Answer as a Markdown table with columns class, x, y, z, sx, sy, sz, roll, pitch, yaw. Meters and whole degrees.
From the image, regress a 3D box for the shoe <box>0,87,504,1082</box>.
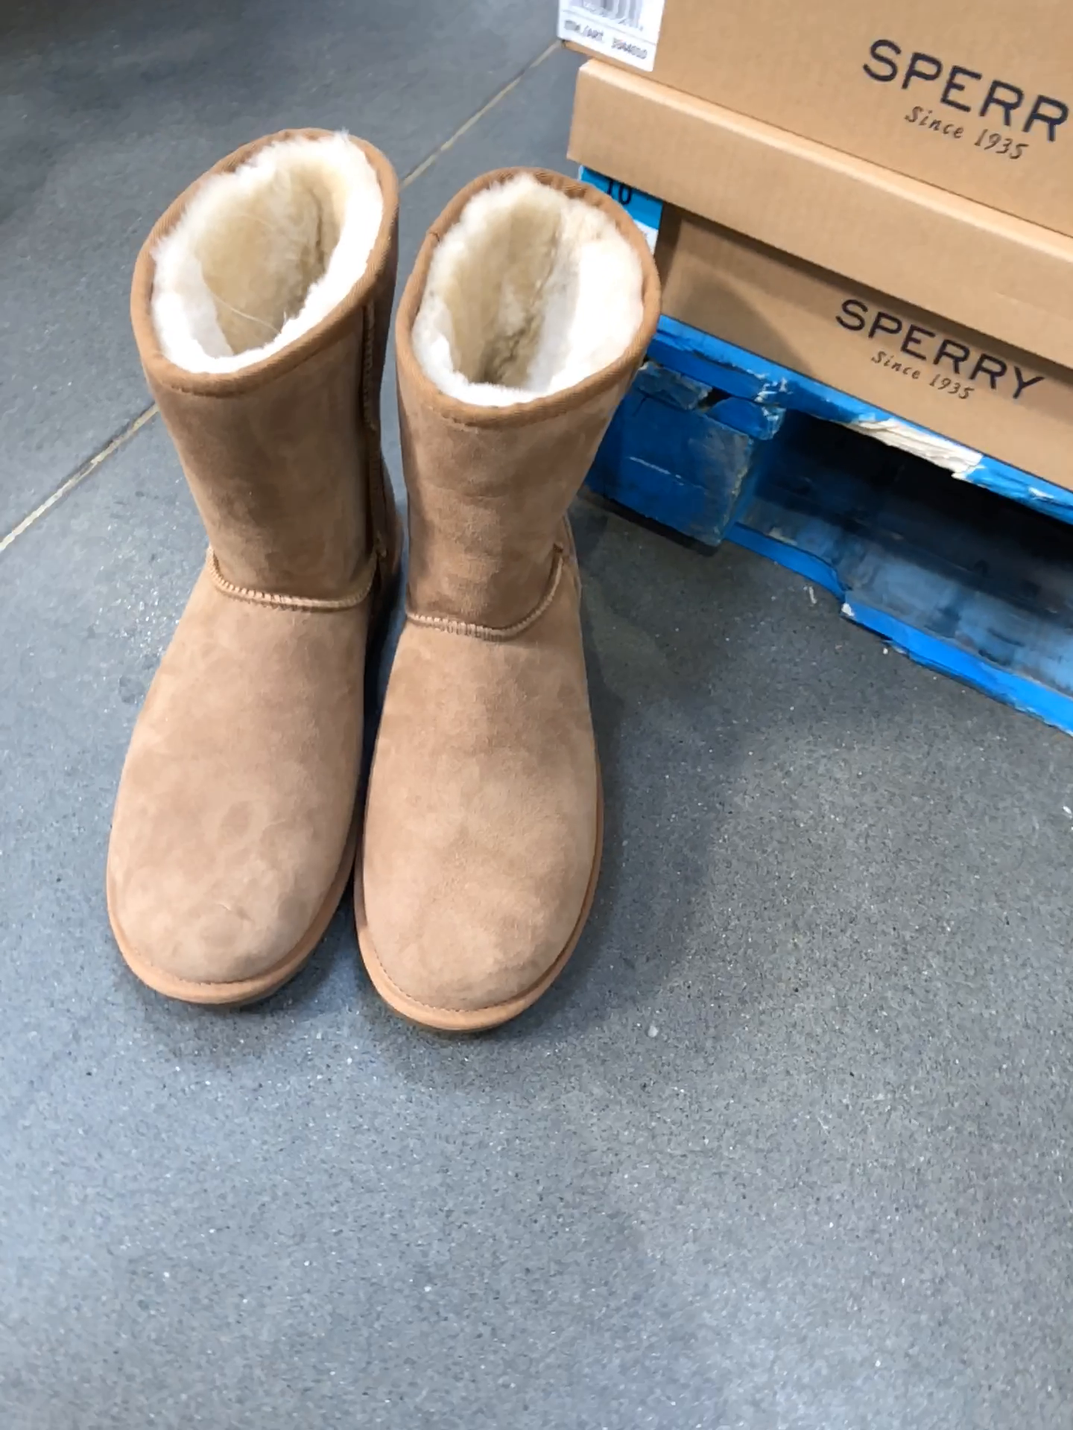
| class | x | y | z | sx | sy | sz | roll | pitch | yaw |
| --- | --- | --- | --- | --- | --- | --- | --- | --- | --- |
| shoe | -0.108 | -0.045 | 0.503 | 0.130 | 0.259 | 0.311 | 9 | 57 | 1 |

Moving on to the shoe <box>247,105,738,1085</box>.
| class | x | y | z | sx | sy | sz | roll | pitch | yaw |
| --- | --- | --- | --- | --- | --- | --- | --- | --- | --- |
| shoe | -0.008 | -0.041 | 0.506 | 0.130 | 0.259 | 0.311 | 6 | 57 | -1 |
